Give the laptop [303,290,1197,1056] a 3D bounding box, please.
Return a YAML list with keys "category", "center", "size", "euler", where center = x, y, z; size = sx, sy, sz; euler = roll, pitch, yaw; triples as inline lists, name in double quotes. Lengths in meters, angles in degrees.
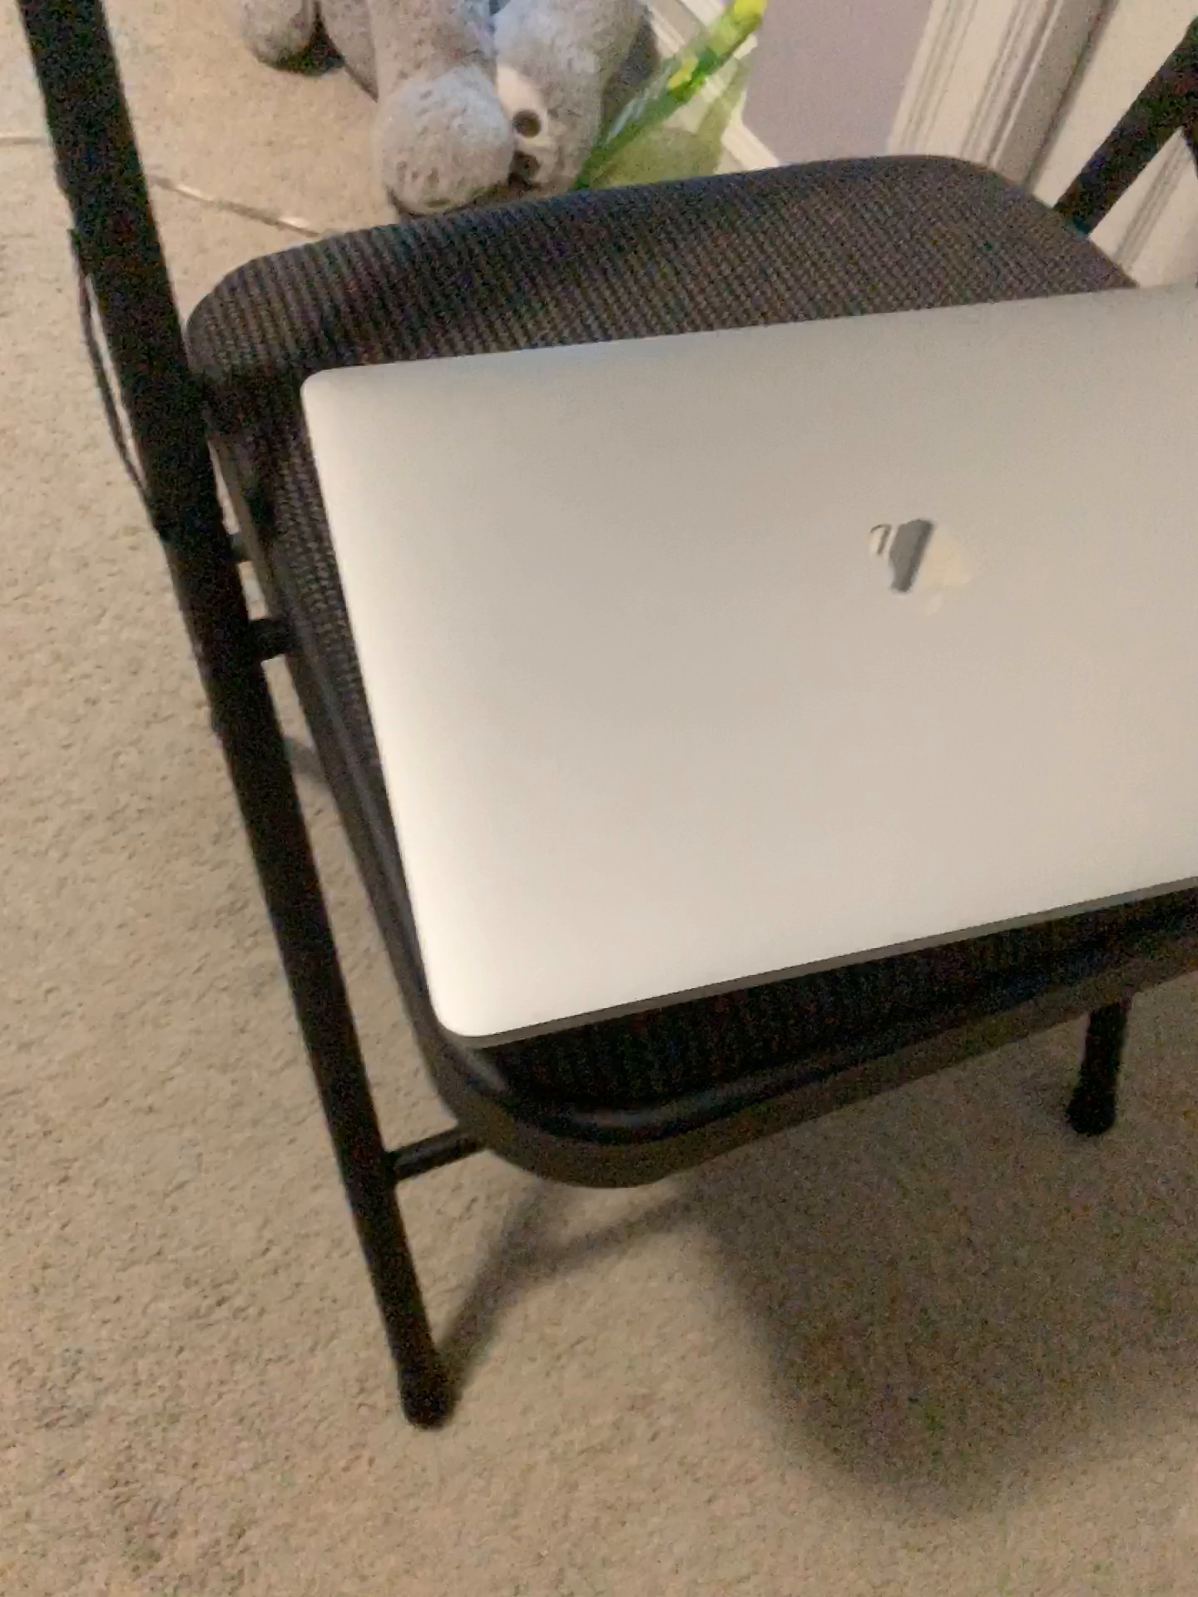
- category: "laptop"
  center: [0.097, -0.065, 0.372]
  size: [0.332, 0.001, 0.224]
  euler: [-11, 61, -13]
